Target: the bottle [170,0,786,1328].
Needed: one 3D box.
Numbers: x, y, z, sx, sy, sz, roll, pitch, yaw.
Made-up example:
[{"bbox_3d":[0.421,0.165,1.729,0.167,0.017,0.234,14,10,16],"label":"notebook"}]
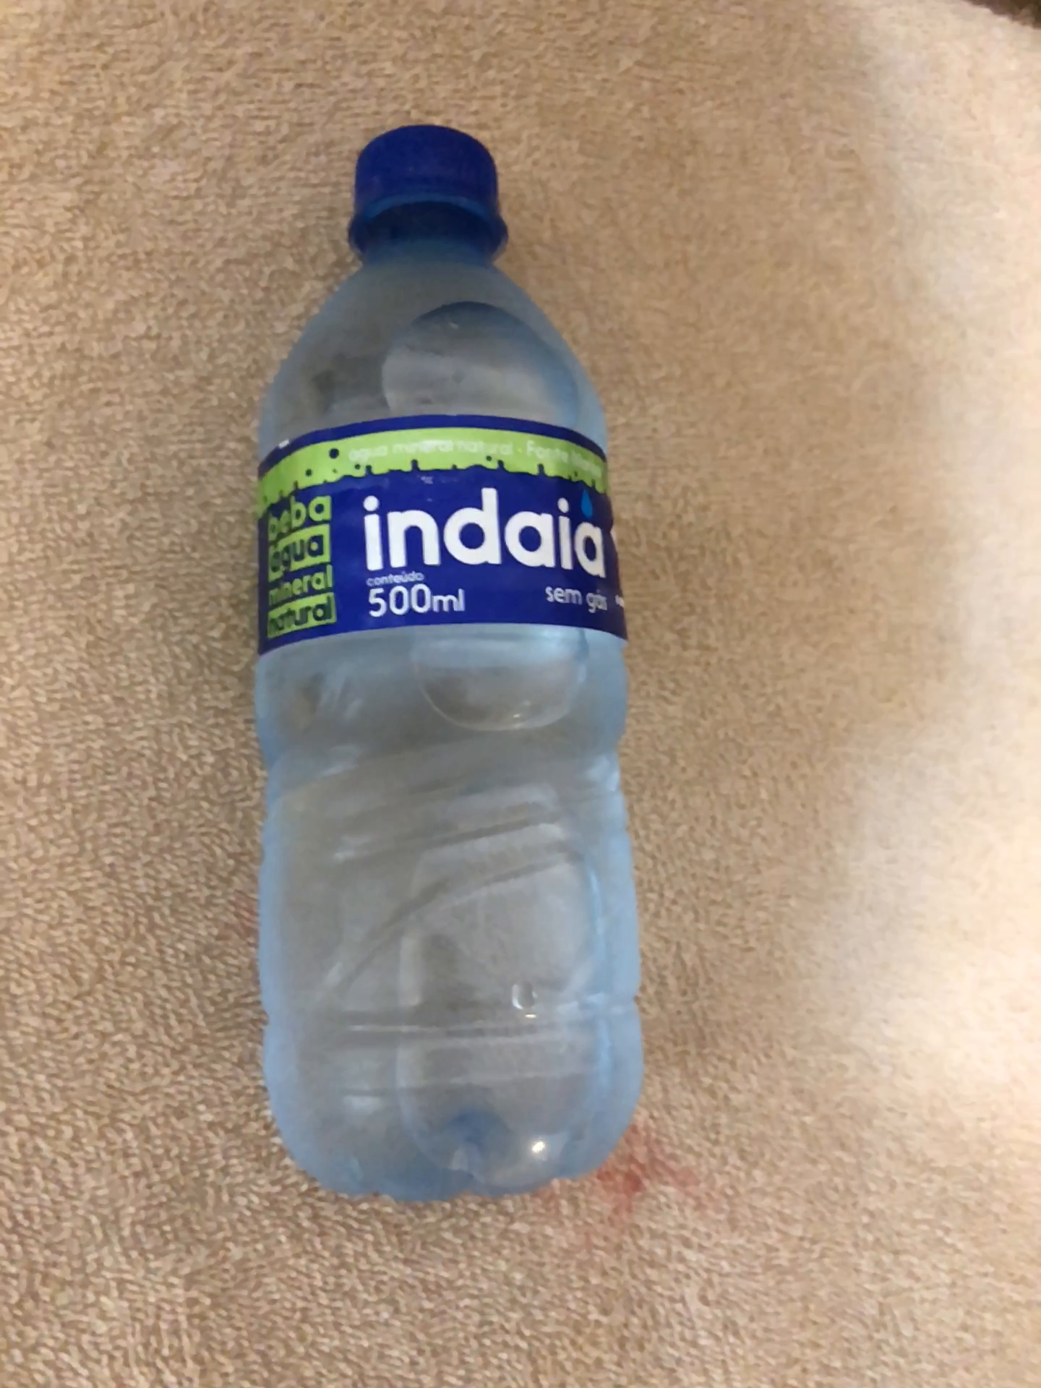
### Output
[{"bbox_3d":[-0.014,-0.016,0.210,0.080,0.050,0.210,-2,80,-22],"label":"bottle"}]
